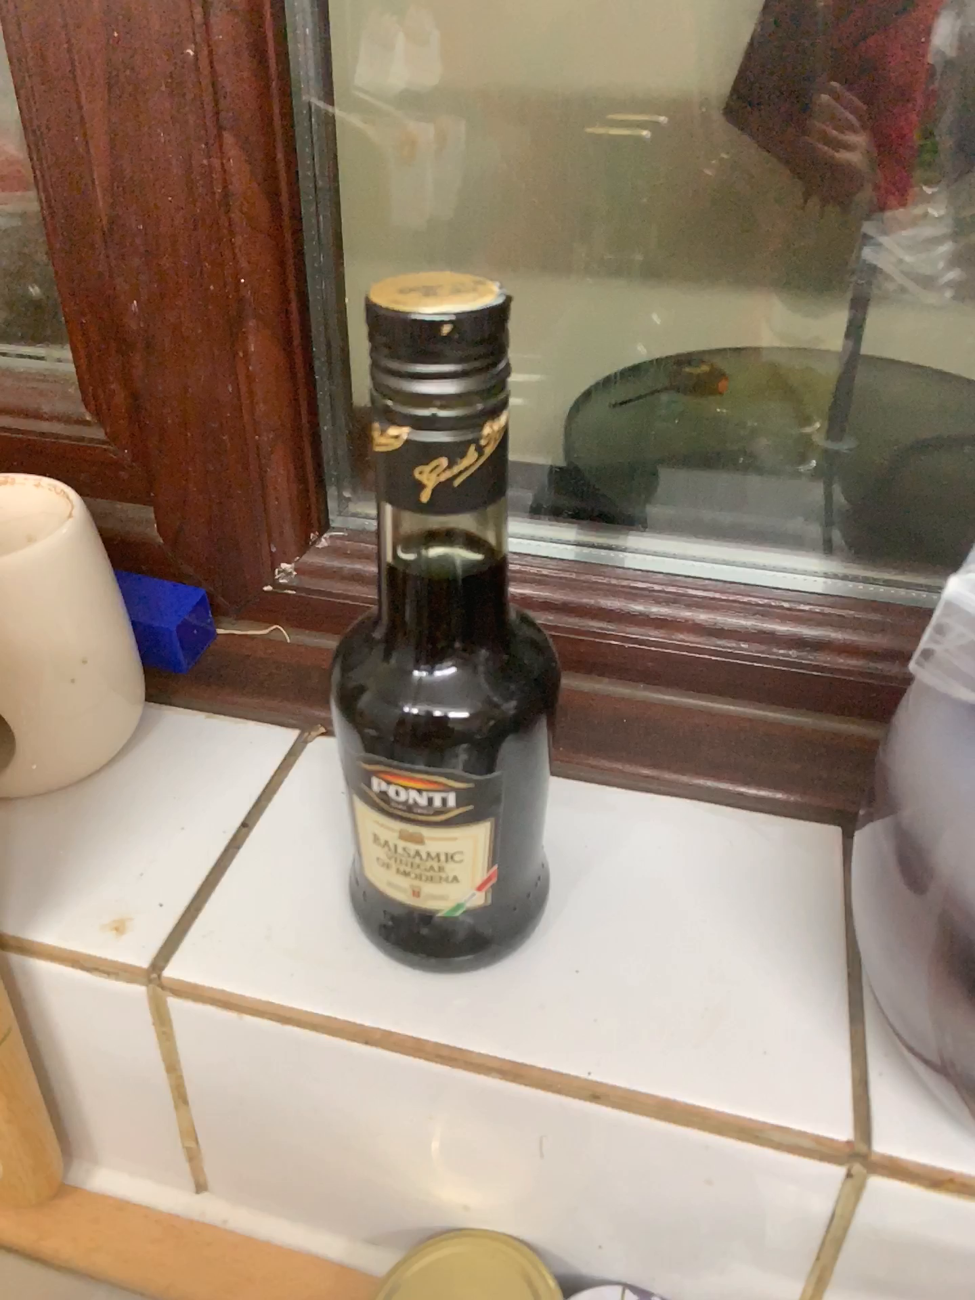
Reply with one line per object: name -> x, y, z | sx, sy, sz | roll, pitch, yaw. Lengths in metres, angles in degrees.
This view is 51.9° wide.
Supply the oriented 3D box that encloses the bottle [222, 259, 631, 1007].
bottle -> -0.010, 0.001, 0.265 | 0.070, 0.178, 0.071 | 1, 34, -1
